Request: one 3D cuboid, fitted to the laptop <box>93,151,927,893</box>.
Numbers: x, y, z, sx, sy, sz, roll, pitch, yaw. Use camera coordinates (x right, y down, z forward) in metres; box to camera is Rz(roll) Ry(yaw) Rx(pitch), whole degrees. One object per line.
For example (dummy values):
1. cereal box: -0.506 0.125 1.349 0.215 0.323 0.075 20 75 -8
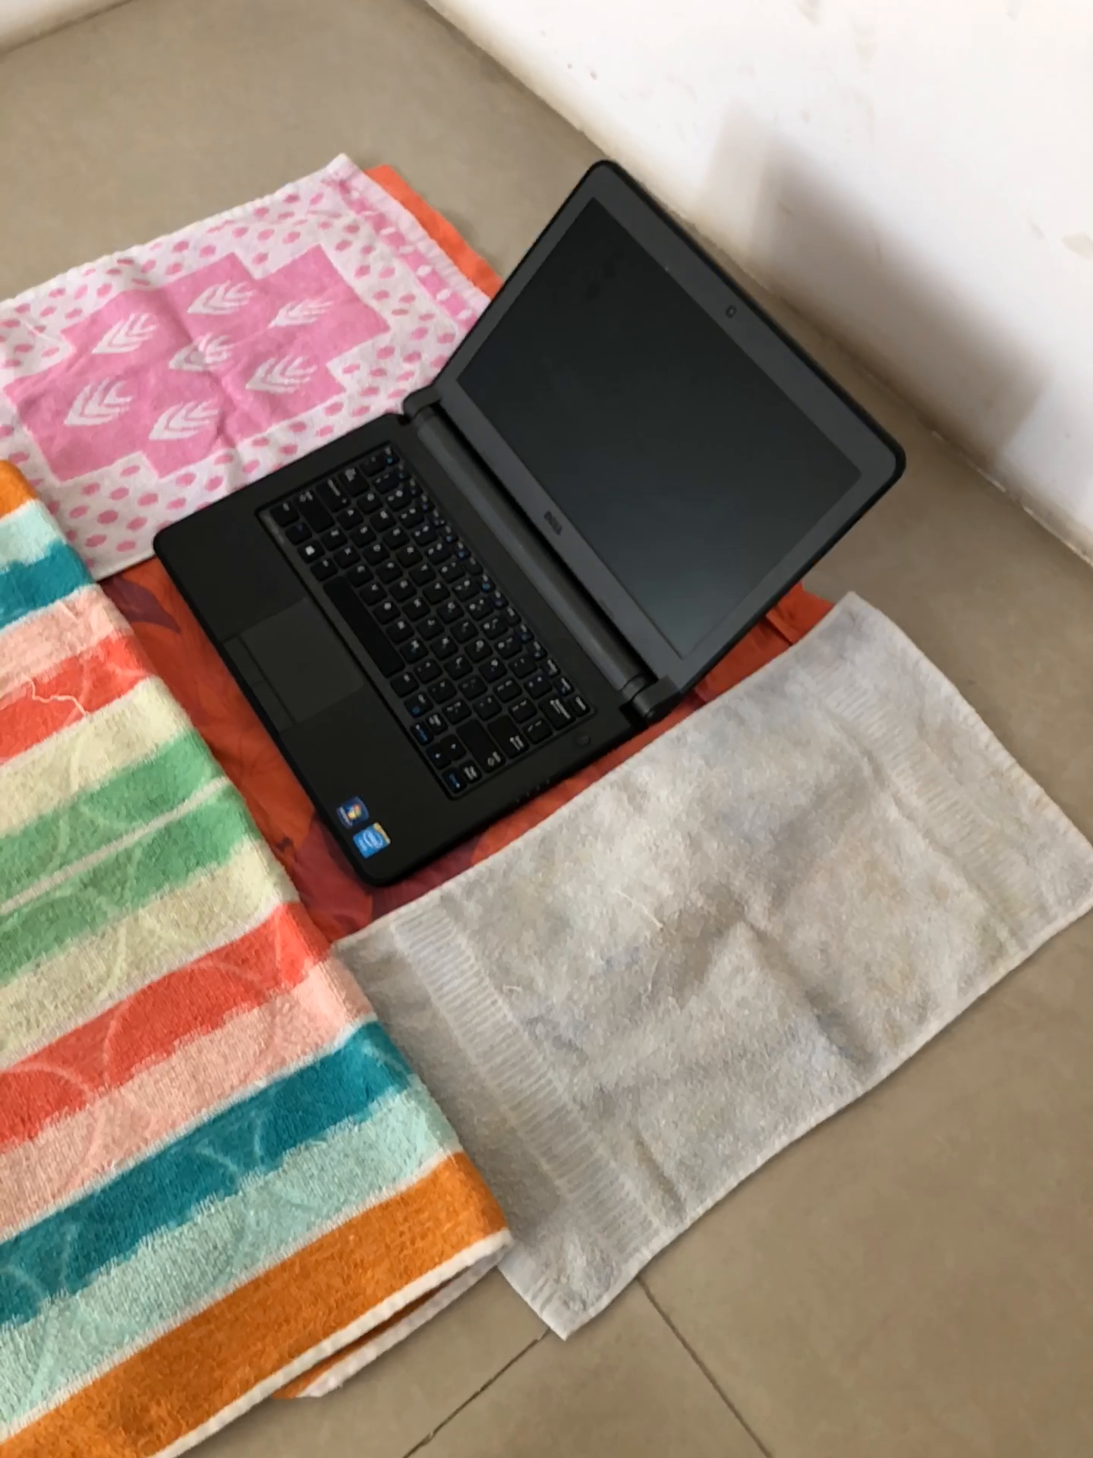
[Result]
1. laptop: -0.029 -0.146 0.794 0.392 0.143 0.314 -30 67 -12
